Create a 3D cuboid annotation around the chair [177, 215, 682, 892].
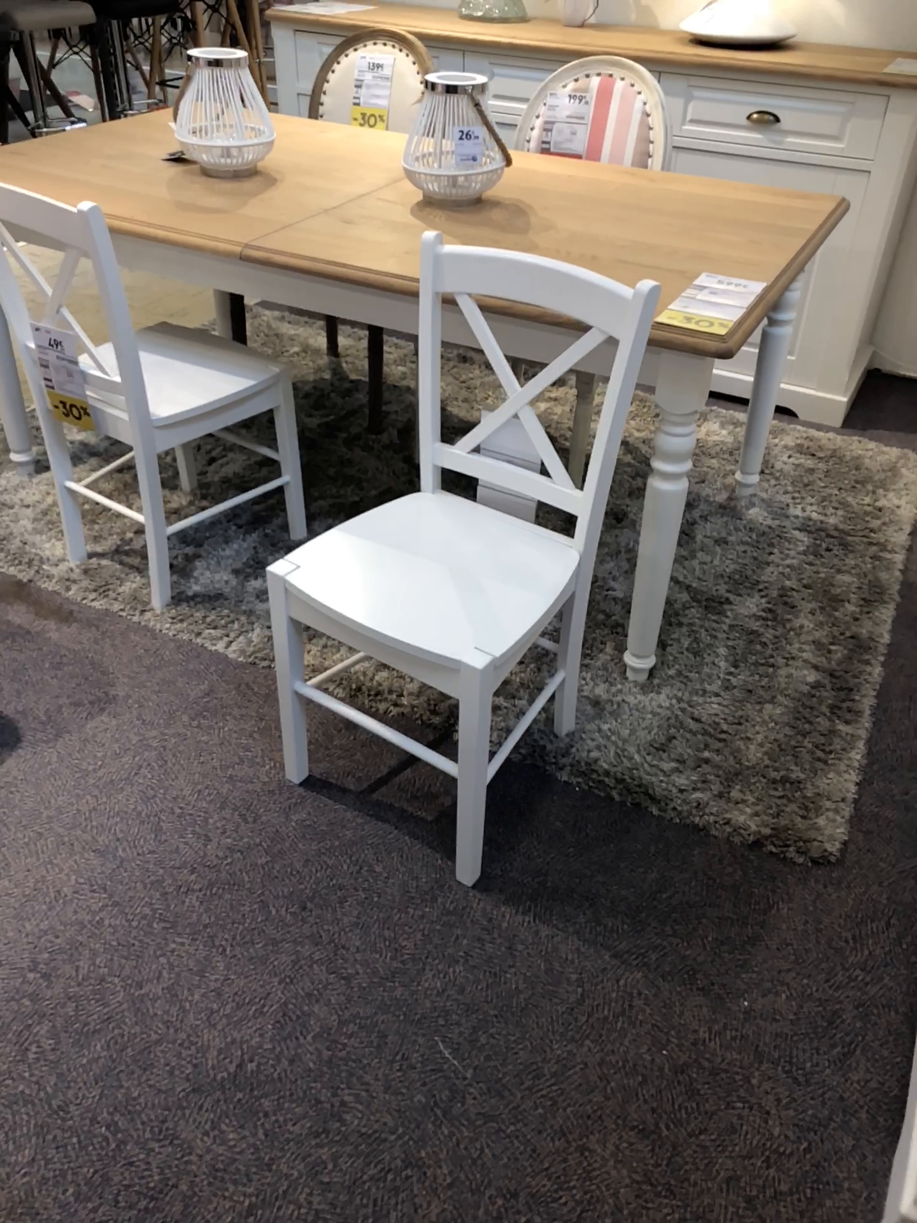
[{"bbox_3d":[-0.034,-0.097,1.499,0.460,0.785,0.463,22,40,26],"label":"chair"}]
